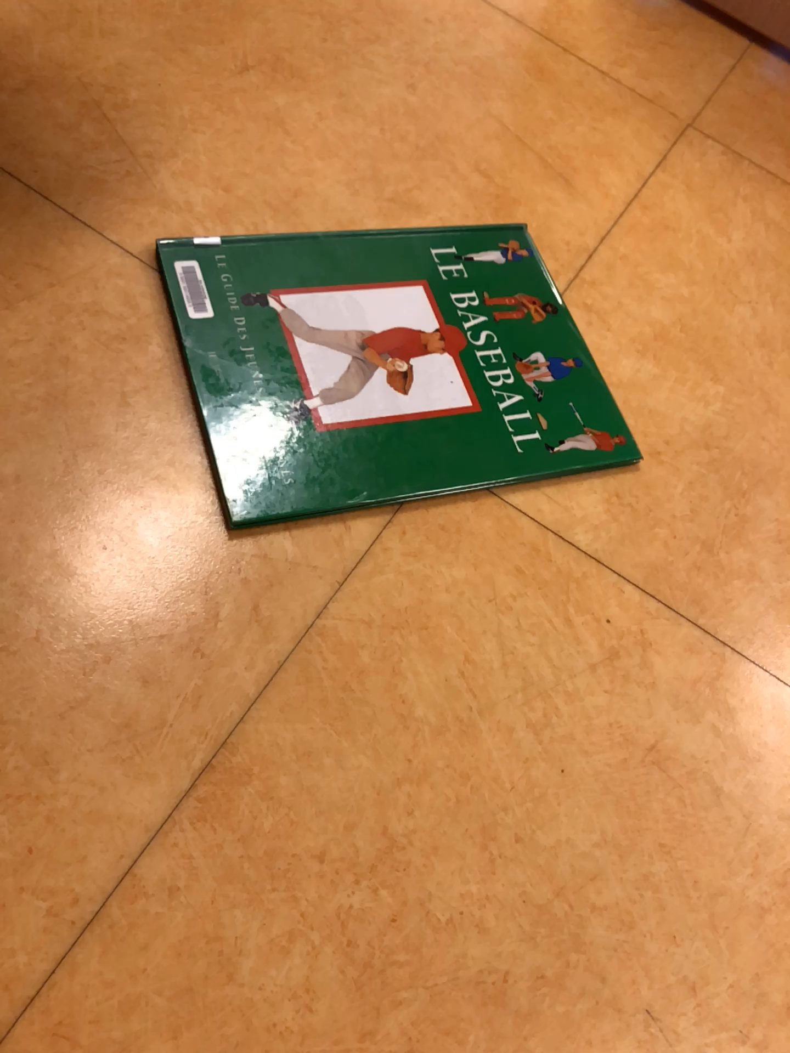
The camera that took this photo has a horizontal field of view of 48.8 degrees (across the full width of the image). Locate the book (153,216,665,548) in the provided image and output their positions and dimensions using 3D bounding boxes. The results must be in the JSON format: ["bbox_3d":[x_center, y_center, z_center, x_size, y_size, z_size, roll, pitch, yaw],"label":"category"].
[{"bbox_3d":[0.008,-0.110,0.558,0.281,0.020,0.220,-9,64,-21],"label":"book"}]
